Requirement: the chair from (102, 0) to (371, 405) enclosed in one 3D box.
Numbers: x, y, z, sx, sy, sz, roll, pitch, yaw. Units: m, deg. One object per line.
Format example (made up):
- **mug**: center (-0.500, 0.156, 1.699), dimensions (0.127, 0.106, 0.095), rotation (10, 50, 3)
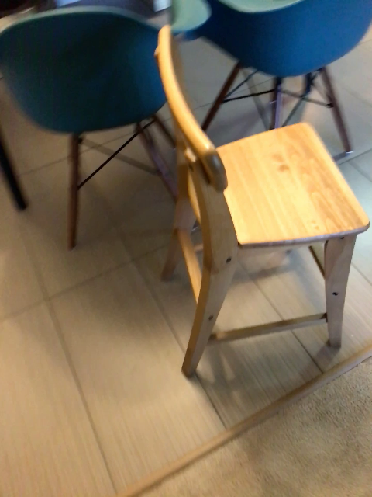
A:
- **chair**: center (0.168, -0.050, 0.873), dimensions (0.490, 0.687, 0.442), rotation (-14, 53, -4)
